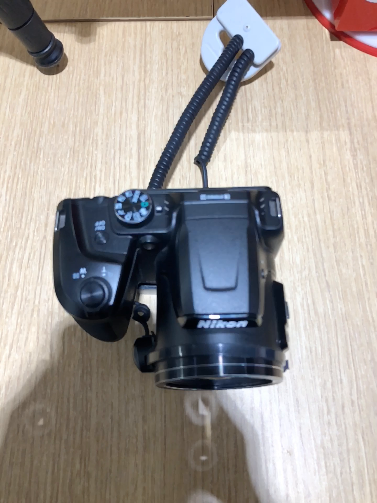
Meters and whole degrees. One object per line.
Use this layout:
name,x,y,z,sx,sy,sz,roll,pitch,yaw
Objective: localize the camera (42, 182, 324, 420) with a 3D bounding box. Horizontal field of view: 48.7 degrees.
camera,-0.004,0.027,0.200,0.103,0.070,0.093,-3,70,0
